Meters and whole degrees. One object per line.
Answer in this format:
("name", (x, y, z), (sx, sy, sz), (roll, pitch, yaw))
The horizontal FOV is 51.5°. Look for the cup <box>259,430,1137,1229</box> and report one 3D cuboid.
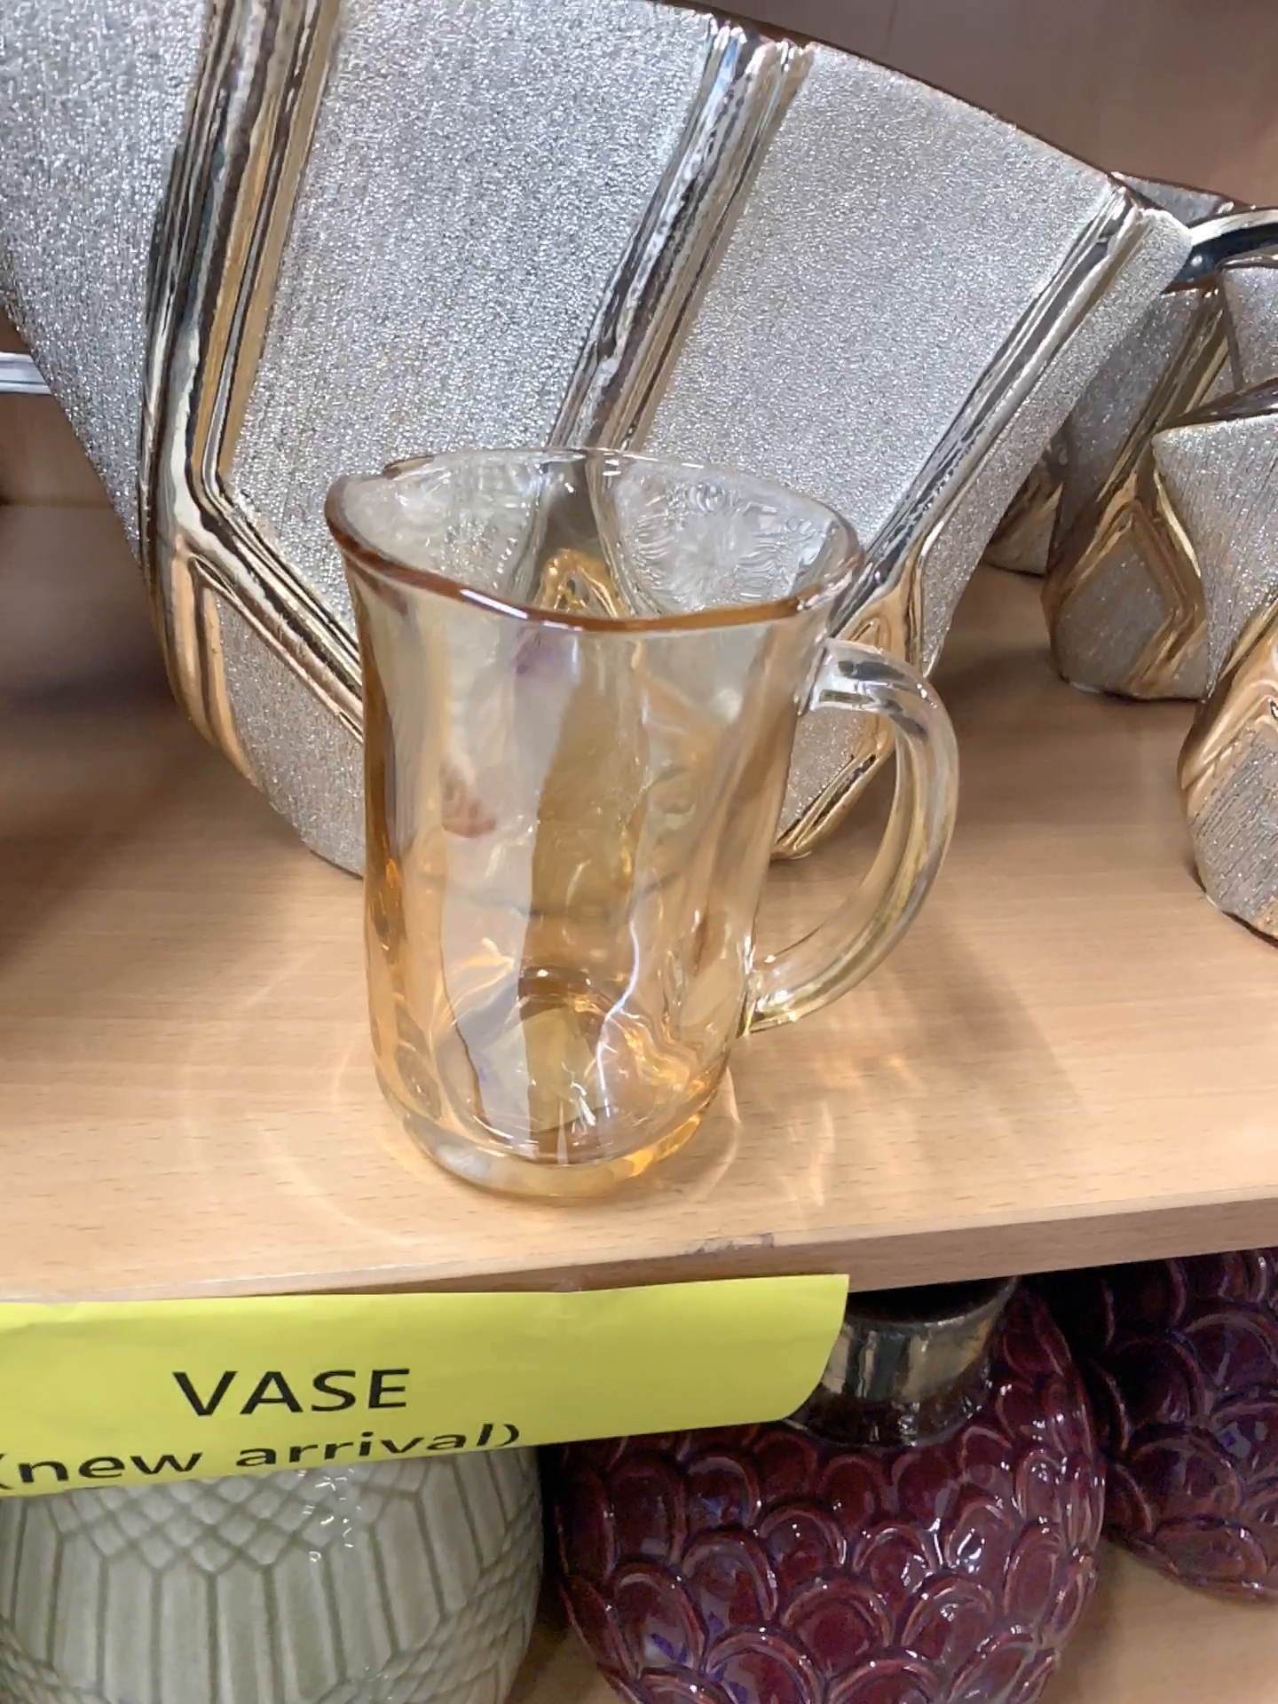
("cup", (-0.001, -0.006, 0.220), (0.110, 0.100, 0.080), (0, 31, -11))
